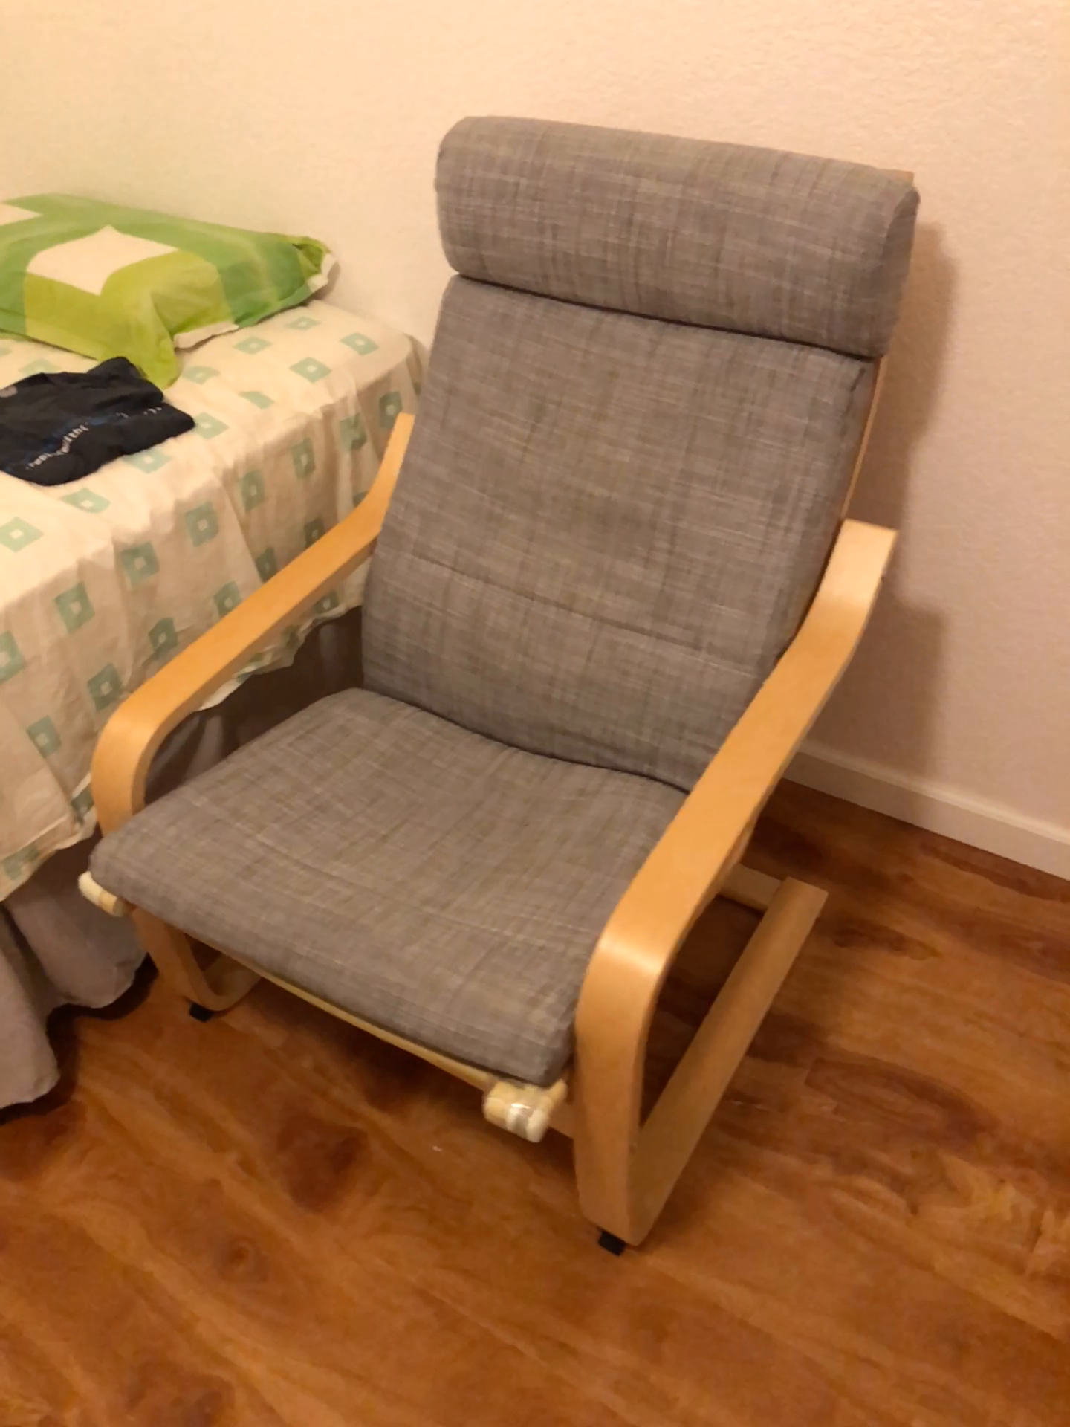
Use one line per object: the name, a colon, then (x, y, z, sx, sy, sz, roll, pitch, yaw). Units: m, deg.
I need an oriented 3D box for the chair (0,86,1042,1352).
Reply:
chair: (-0.020, -0.061, 1.244, 0.681, 0.885, 0.803, 21, 45, 26)
